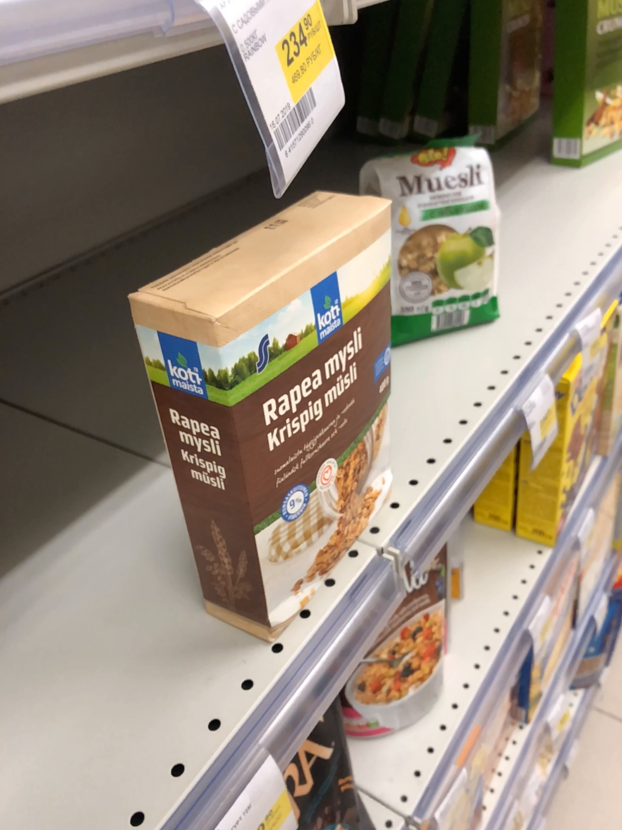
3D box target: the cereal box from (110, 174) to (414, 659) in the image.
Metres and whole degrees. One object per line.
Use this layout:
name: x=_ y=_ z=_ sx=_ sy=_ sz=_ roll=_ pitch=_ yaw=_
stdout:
cereal box: x=-0.005 y=-0.002 z=0.351 sx=0.050 sy=0.189 sz=0.151 roll=16 pitch=41 yaw=30
